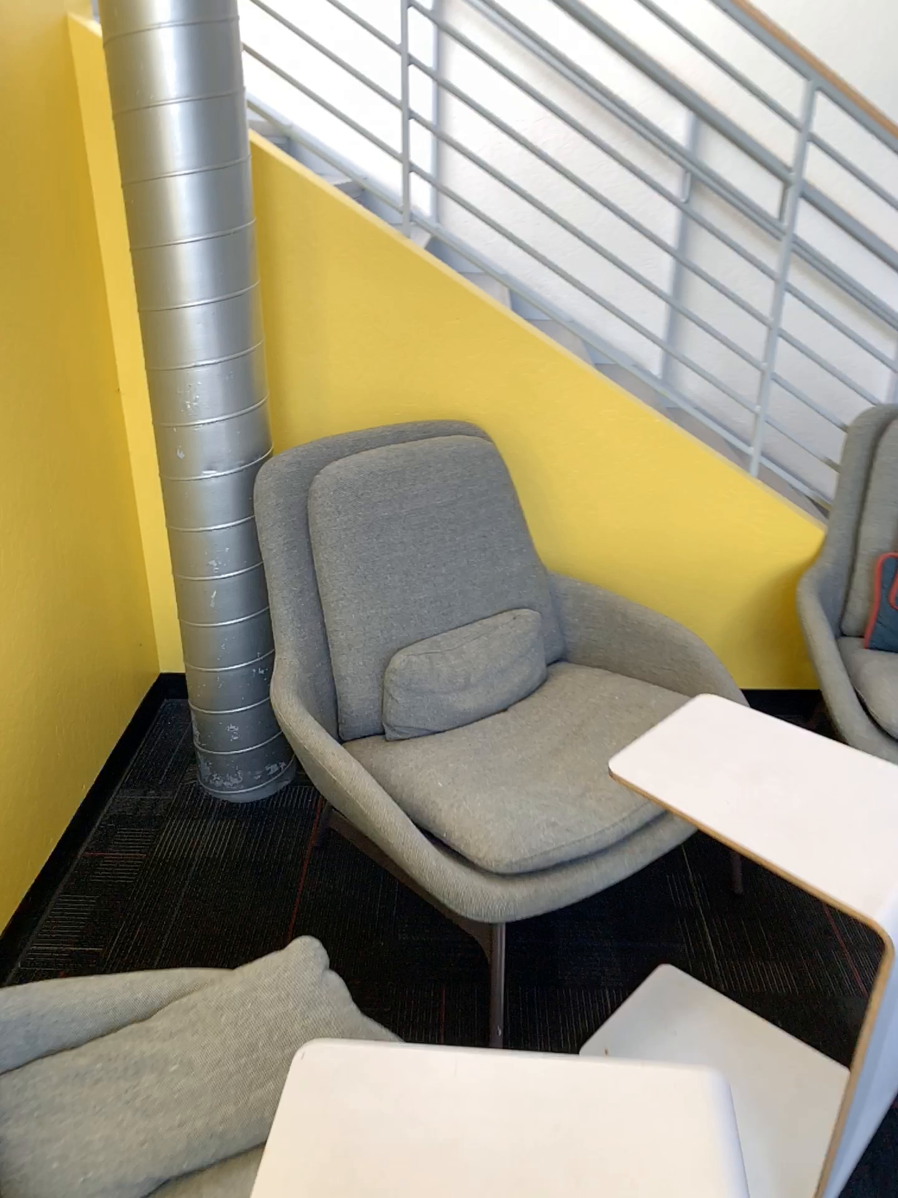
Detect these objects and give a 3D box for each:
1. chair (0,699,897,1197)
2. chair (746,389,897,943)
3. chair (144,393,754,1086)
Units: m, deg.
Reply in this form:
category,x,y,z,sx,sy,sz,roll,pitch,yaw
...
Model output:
category,x,y,z,sx,sy,sz,roll,pitch,yaw
chair,-0.347,0.719,0.652,0.870,0.925,0.804,-4,26,-5
chair,1.263,0.068,2.206,0.871,0.946,0.883,5,23,12
chair,0.001,0.180,2.038,0.891,1.015,0.843,-20,30,-35
